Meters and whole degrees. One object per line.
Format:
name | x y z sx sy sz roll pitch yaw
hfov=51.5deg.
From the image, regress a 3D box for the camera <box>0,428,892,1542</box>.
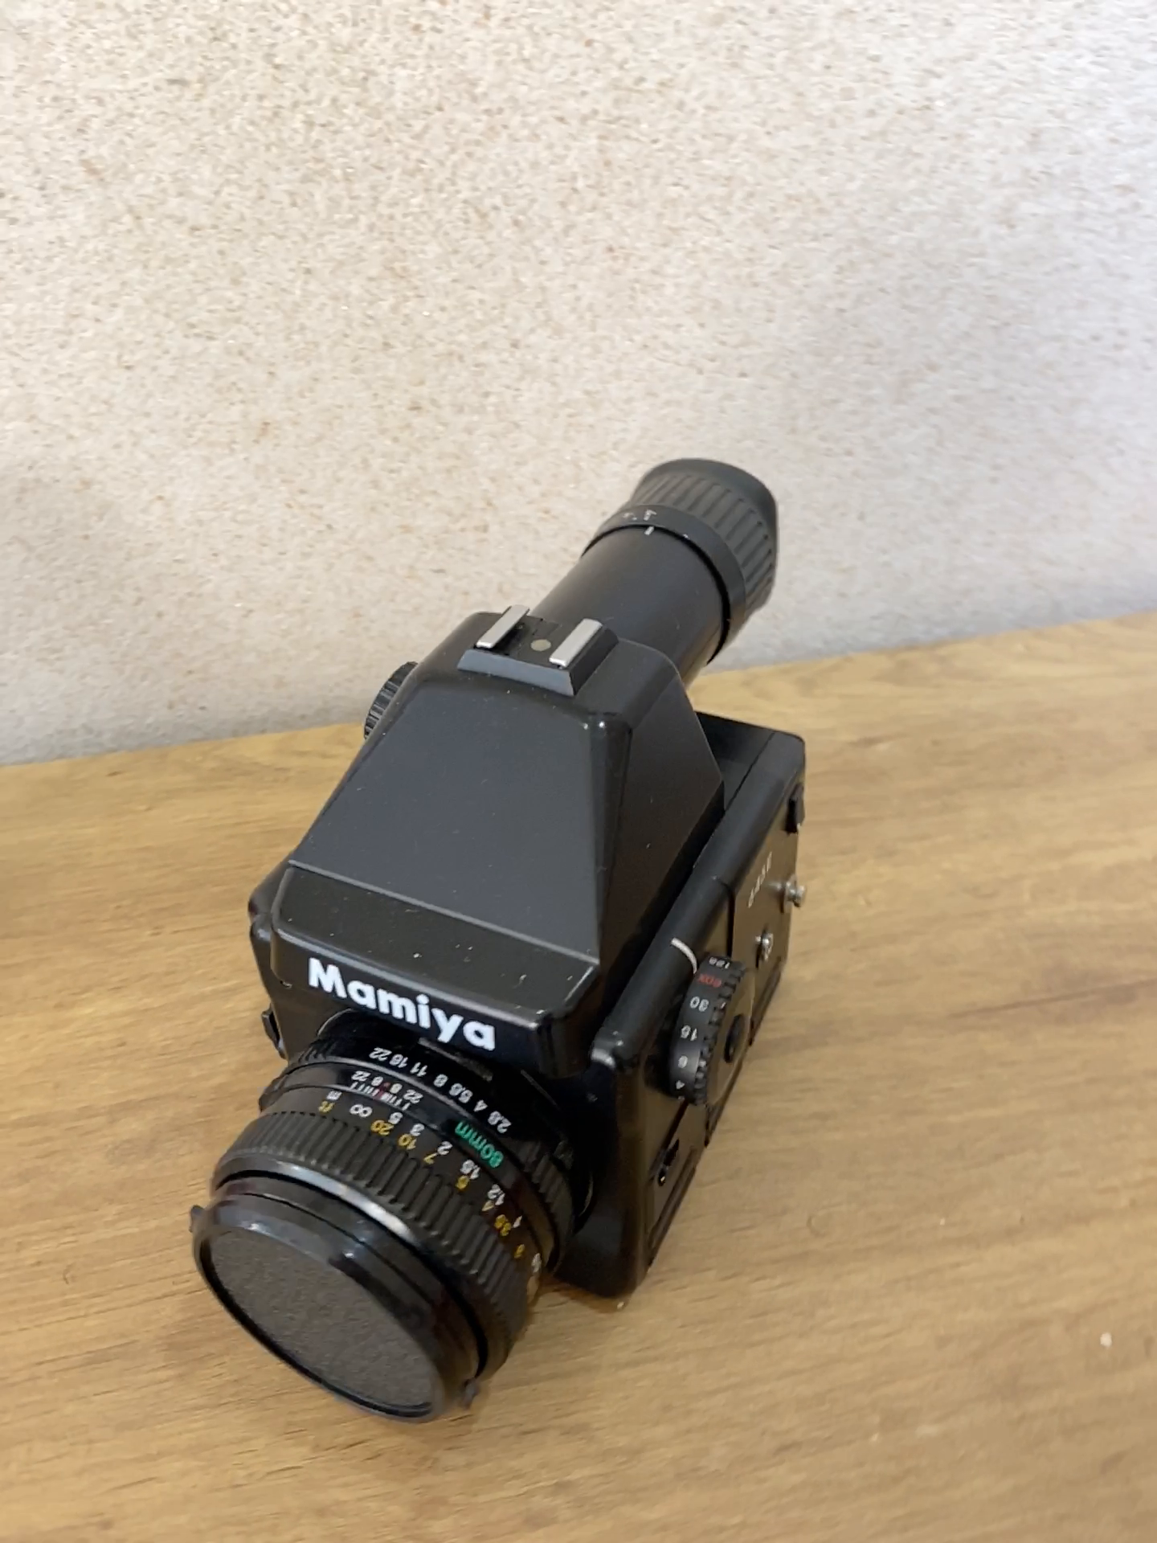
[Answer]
camera | -0.015 0.019 0.280 0.120 0.109 0.221 12 40 20
